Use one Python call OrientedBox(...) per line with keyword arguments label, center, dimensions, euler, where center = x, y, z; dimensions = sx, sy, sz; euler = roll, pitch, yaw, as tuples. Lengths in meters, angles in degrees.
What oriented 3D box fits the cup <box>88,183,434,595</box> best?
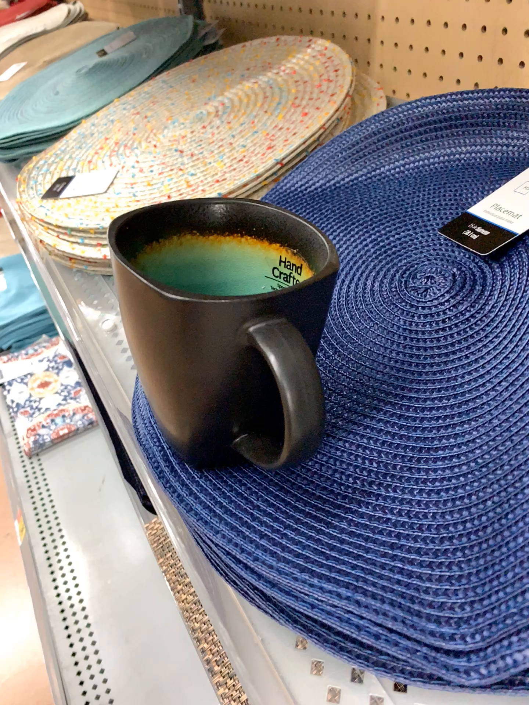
OrientedBox(label="cup", center=(-0.012, 0.004, 0.244), dimensions=(0.090, 0.109, 0.131), euler=(-14, 38, -19))
